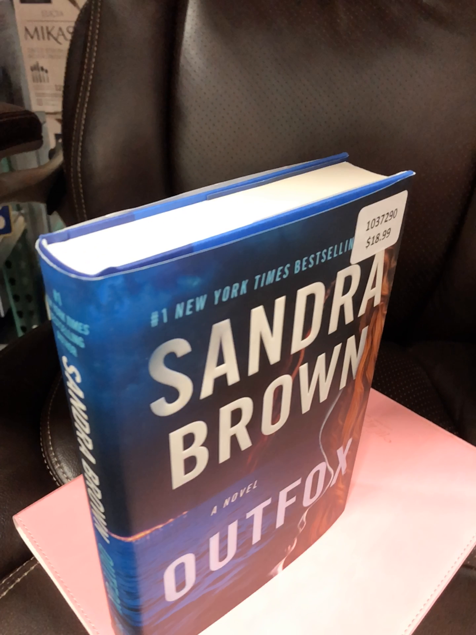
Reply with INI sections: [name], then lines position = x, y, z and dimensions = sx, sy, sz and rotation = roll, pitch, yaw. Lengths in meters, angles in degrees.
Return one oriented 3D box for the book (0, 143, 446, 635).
[book]
position = 0.002, 0.050, 0.254
dimensions = 0.167, 0.228, 0.048
rotation = -24, 43, -34
